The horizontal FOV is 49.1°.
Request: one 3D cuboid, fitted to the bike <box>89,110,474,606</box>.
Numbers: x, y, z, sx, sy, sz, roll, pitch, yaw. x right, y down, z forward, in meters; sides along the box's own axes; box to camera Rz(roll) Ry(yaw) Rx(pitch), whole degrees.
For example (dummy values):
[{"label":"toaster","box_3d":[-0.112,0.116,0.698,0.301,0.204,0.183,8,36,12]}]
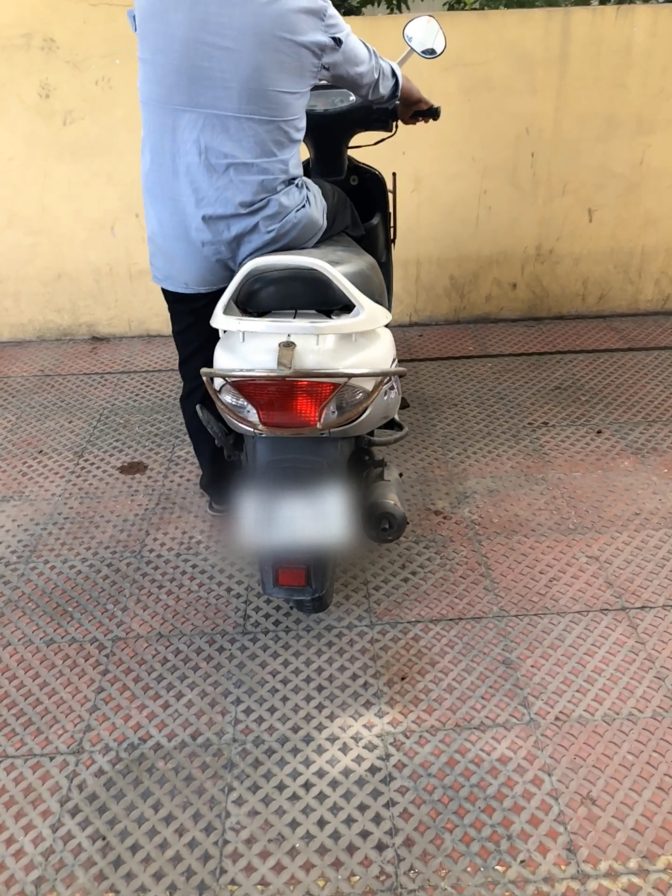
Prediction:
[{"label":"bike","box_3d":[-0.030,-0.417,2.048,0.598,0.816,1.620,0,29,4]}]
